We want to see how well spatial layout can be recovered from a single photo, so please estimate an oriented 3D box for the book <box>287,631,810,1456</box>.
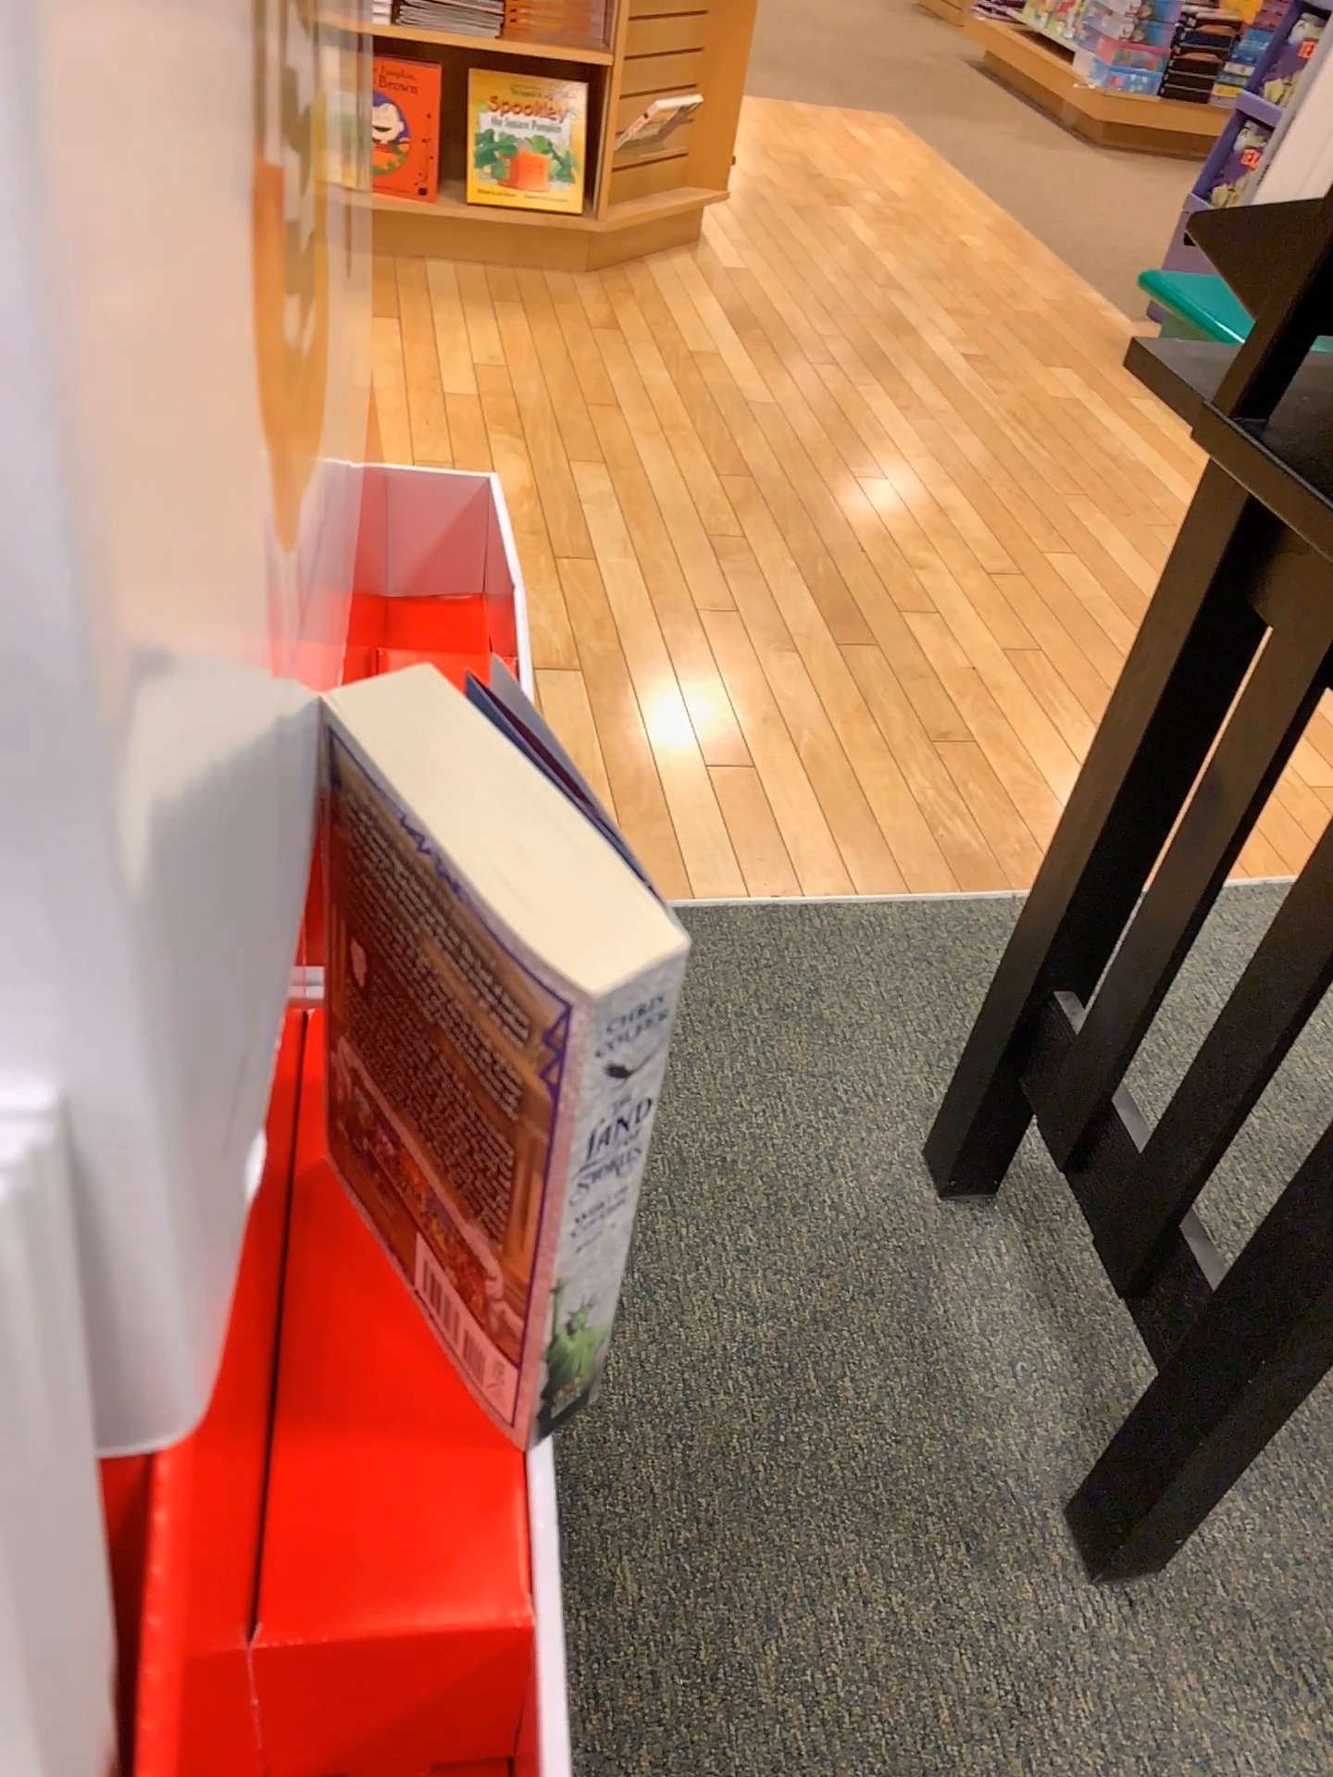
[{"bbox_3d":[-0.045,0.048,0.393,0.065,0.193,0.130,-23,50,-33],"label":"book"}]
